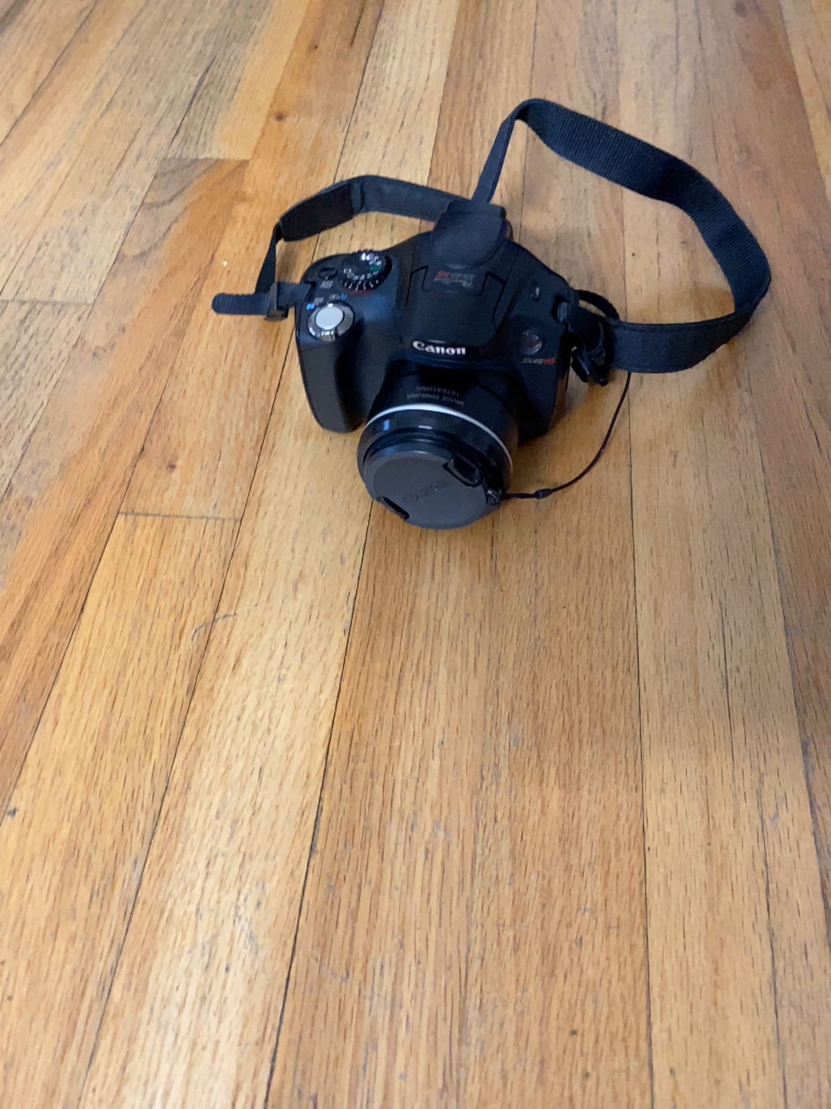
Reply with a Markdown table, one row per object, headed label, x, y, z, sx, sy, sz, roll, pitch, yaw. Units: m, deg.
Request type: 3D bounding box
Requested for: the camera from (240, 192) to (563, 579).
| label | x | y | z | sx | sy | sz | roll | pitch | yaw |
| --- | --- | --- | --- | --- | --- | --- | --- | --- | --- |
| camera | 0.003 | -0.074 | 0.381 | 0.110 | 0.110 | 0.120 | 5 | 57 | 7 |
